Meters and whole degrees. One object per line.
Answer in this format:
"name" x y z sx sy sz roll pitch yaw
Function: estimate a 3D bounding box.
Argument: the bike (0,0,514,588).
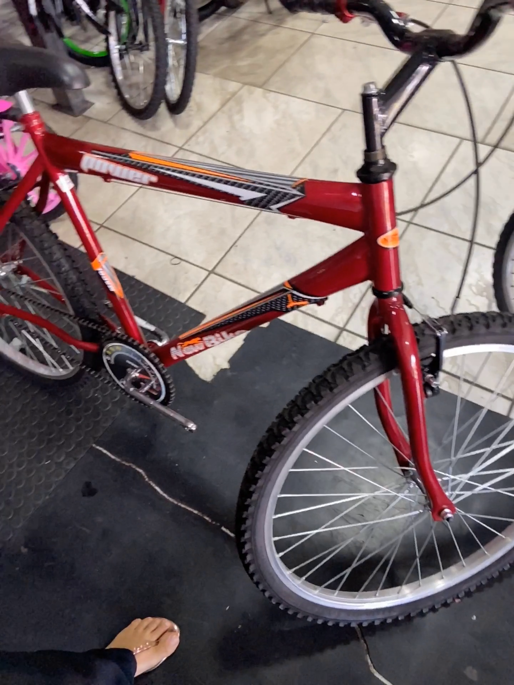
"bike" -0.181 -0.249 0.919 1.583 1.030 0.568 14 59 20
